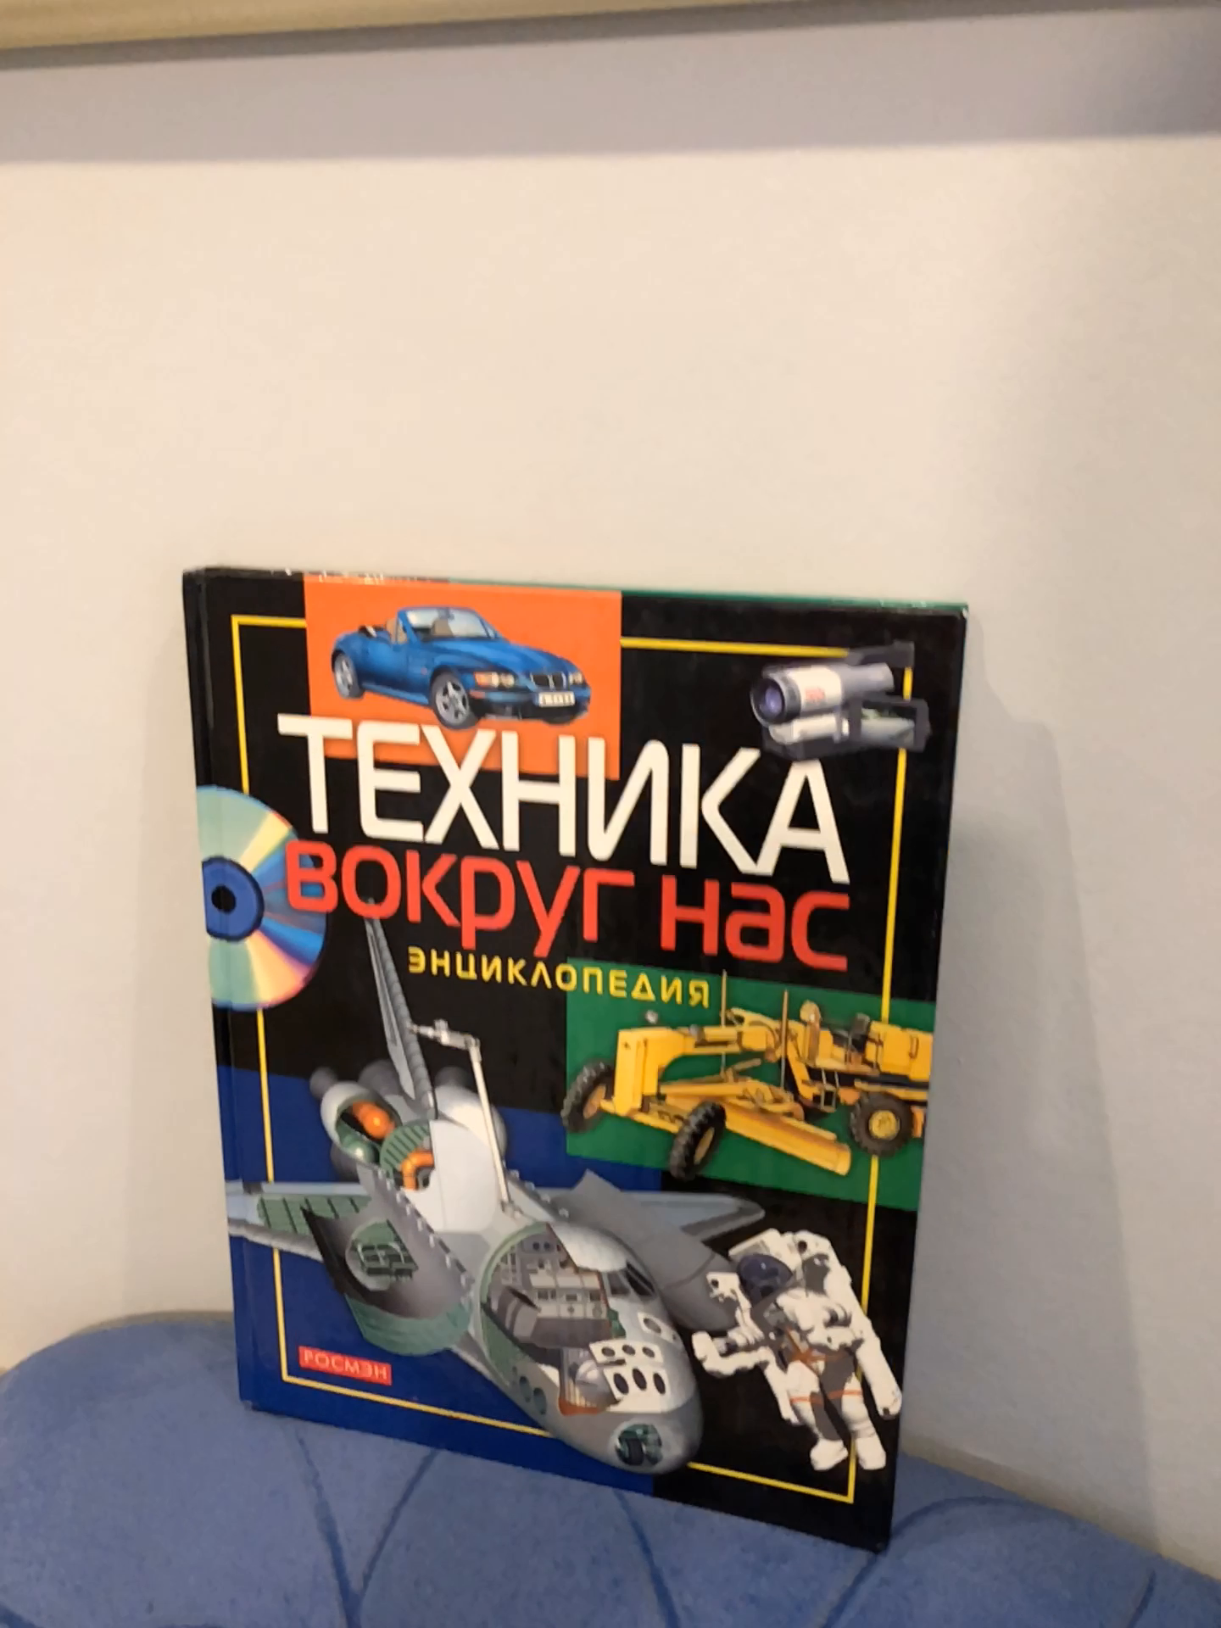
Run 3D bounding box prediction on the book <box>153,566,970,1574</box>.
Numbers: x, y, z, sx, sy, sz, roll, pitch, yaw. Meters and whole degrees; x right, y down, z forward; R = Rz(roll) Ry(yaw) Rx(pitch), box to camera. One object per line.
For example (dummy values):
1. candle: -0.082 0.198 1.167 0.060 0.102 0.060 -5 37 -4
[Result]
1. book: -0.018 0.073 0.398 0.220 0.279 0.030 5 16 16
